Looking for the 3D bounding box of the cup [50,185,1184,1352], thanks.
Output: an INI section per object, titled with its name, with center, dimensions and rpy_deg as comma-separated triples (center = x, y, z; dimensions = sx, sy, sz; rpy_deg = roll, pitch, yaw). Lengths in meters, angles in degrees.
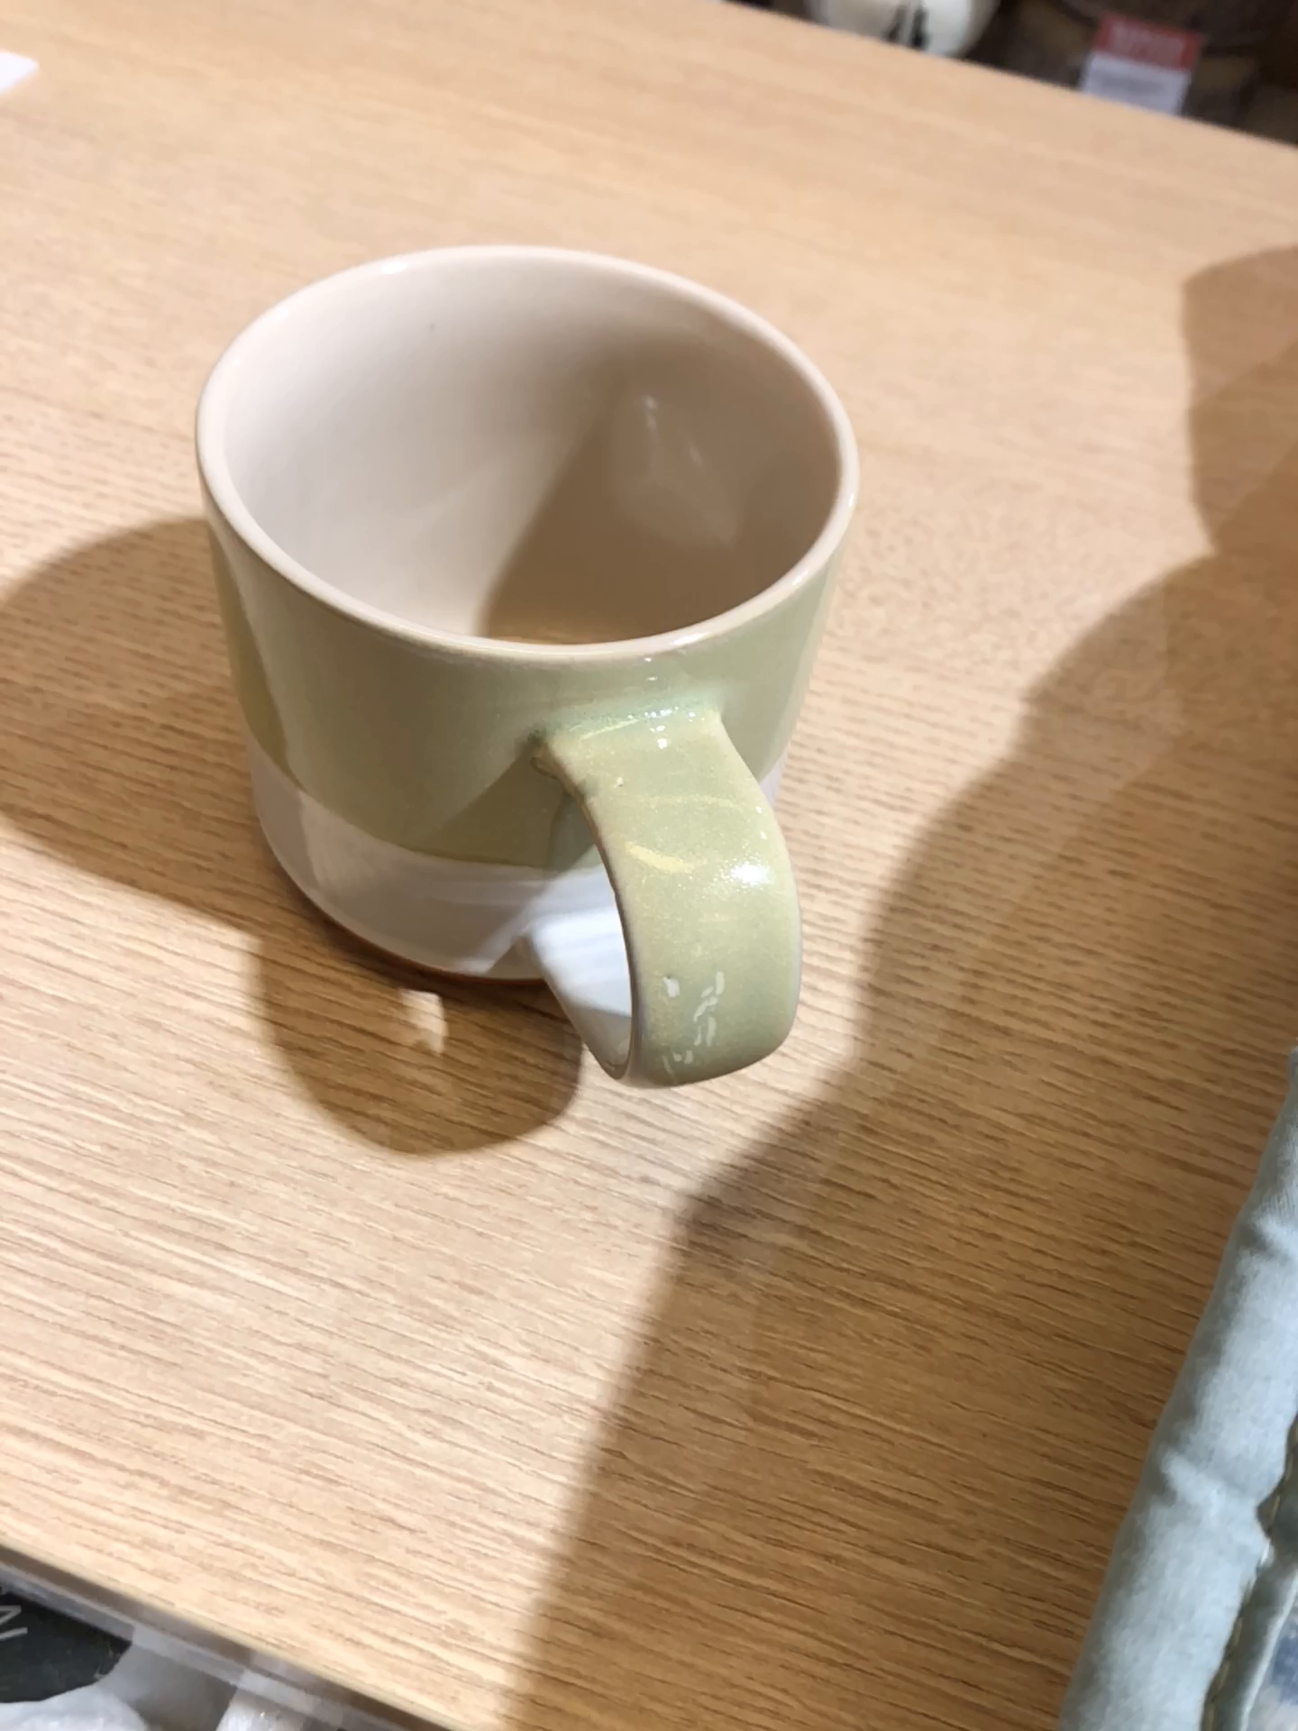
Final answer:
[cup]
center = -0.016, -0.024, 0.222
dimensions = 0.100, 0.079, 0.141
rpy_deg = -17, 56, -19
